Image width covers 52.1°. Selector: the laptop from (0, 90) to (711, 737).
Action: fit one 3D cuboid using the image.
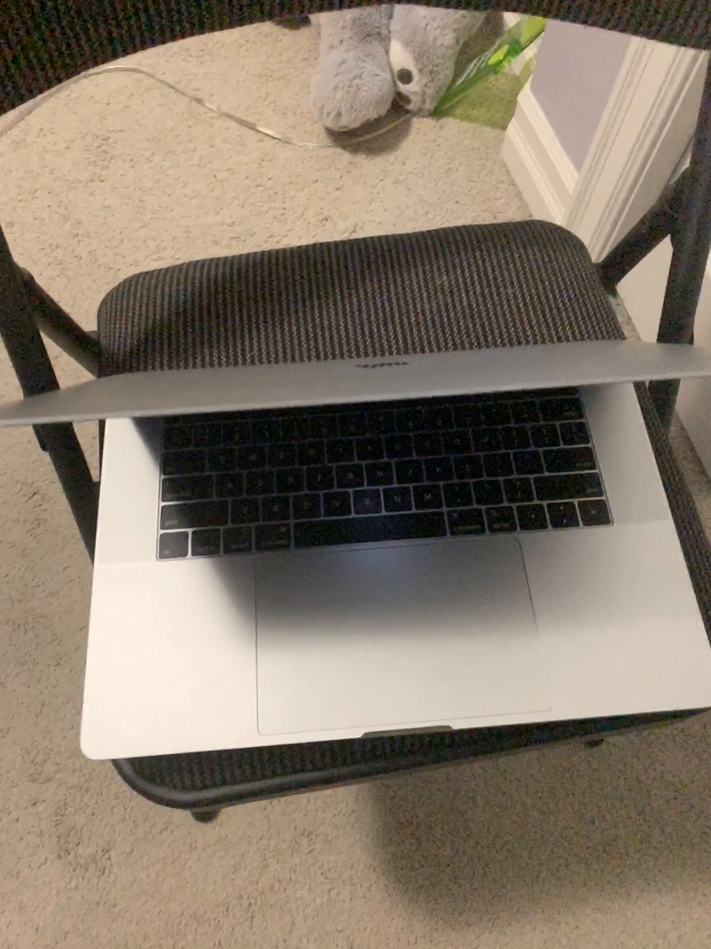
[{"bbox_3d":[0.022,-0.014,0.350,0.334,0.189,0.231,-4,66,-1],"label":"laptop"}]
